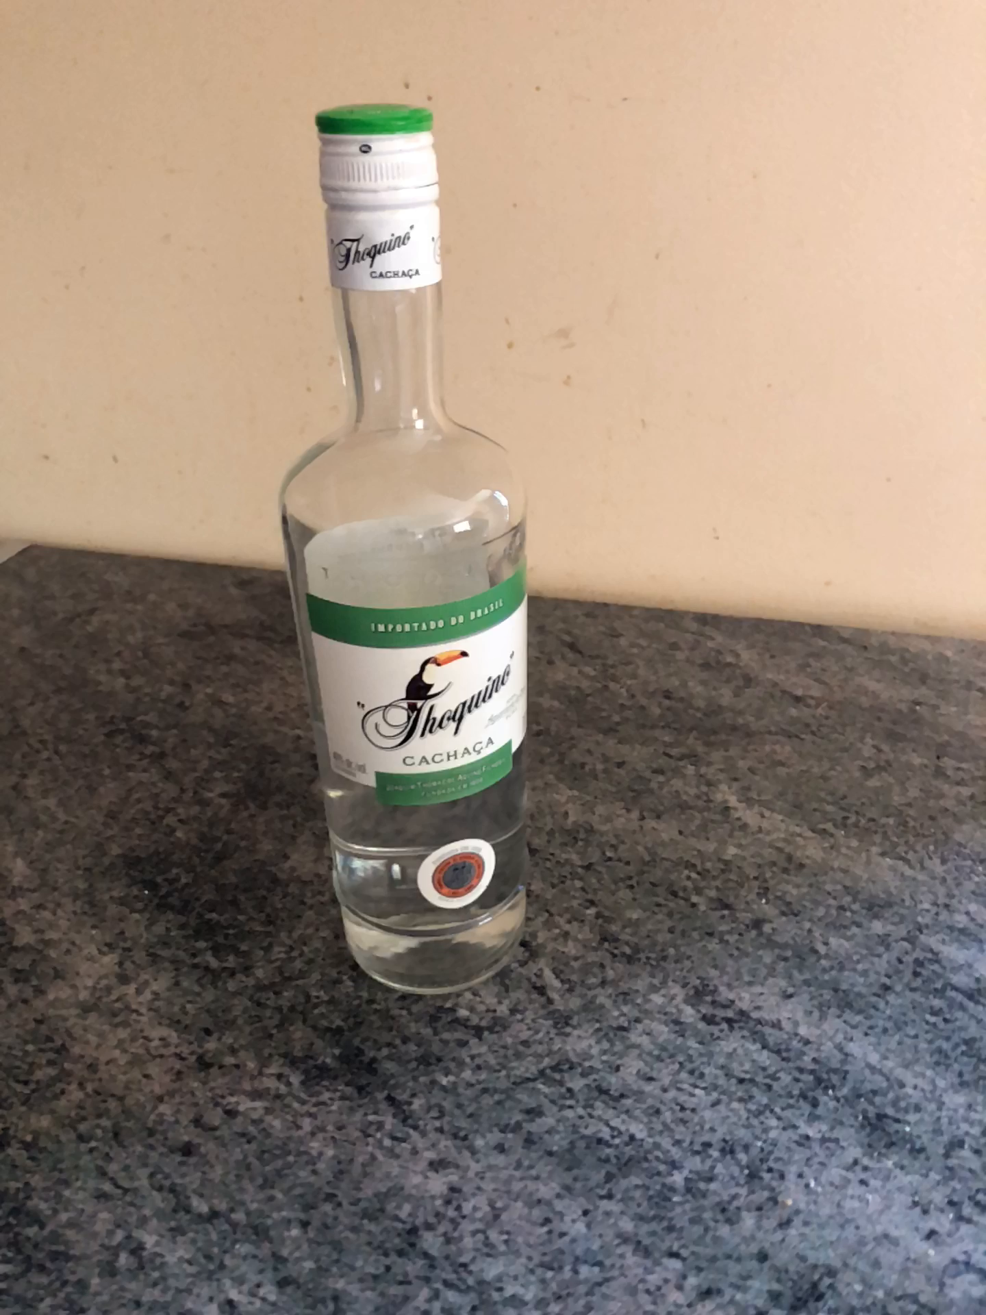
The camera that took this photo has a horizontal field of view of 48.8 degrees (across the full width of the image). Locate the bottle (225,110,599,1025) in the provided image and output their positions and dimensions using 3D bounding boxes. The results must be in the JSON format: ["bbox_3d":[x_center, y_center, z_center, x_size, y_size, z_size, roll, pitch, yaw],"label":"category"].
[{"bbox_3d":[-0.024,-0.022,0.355,0.080,0.278,0.080,0,27,0],"label":"bottle"}]
